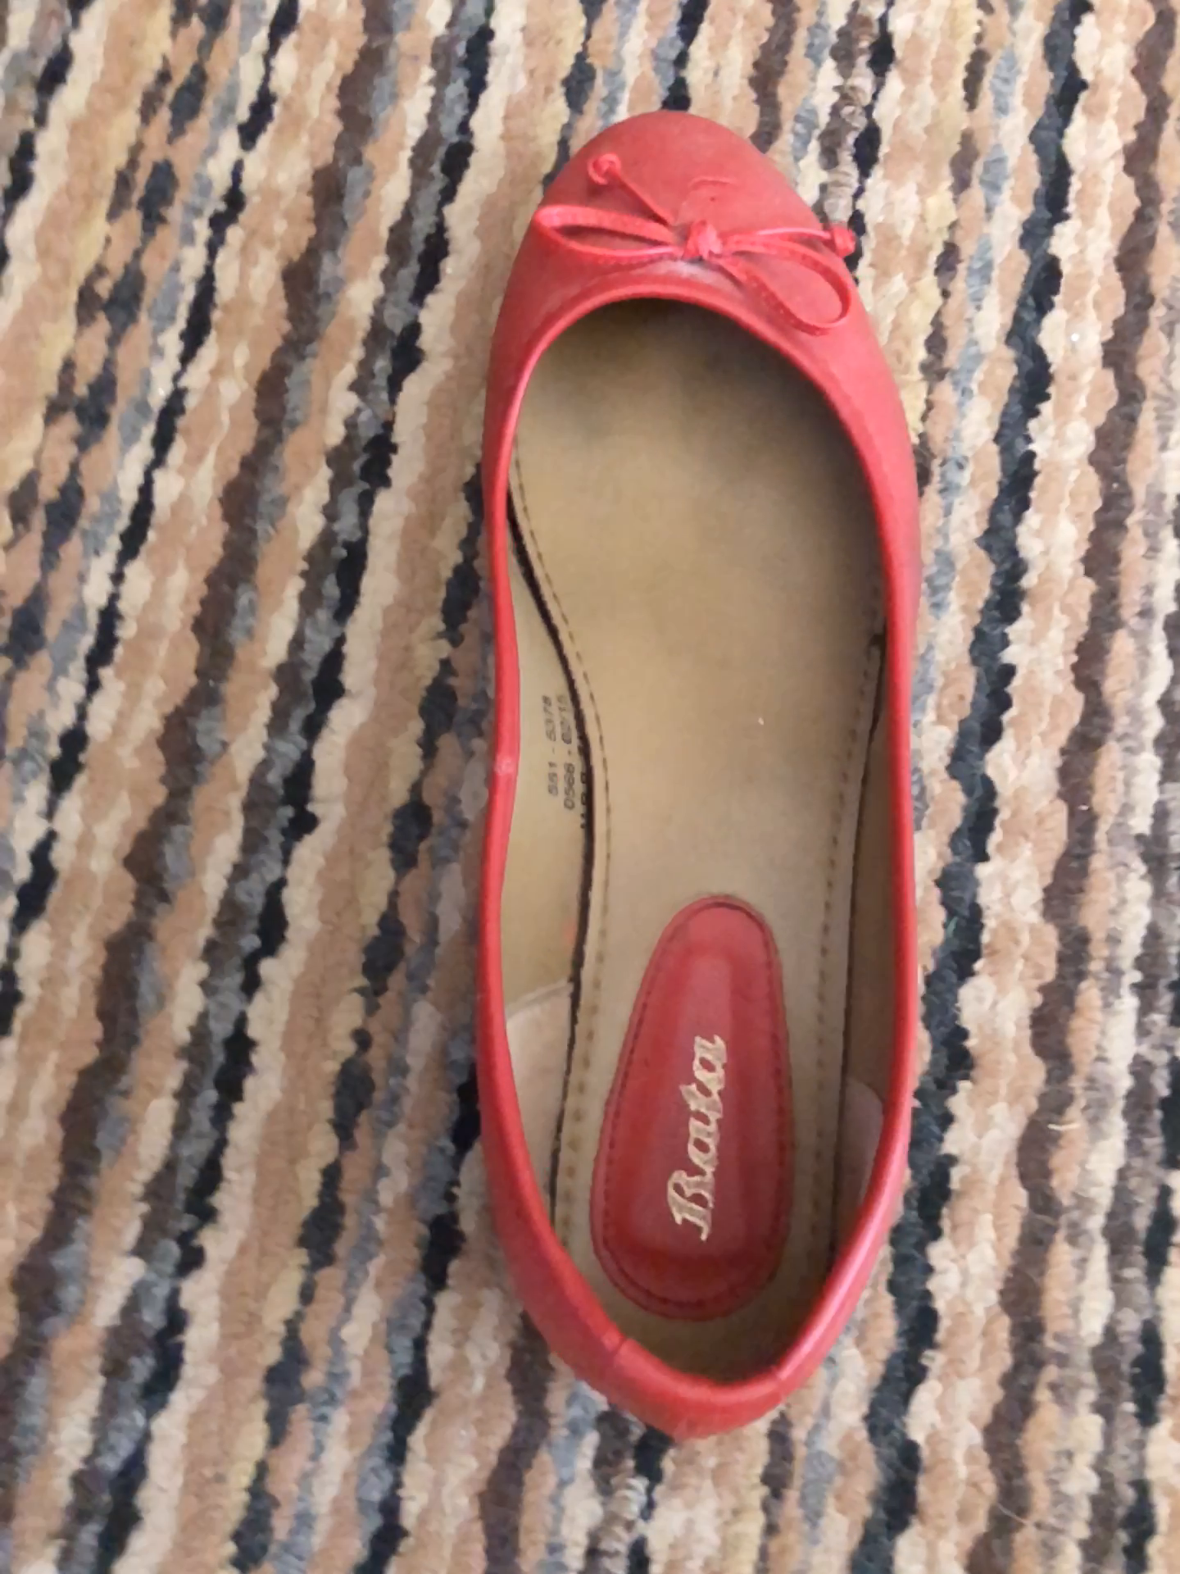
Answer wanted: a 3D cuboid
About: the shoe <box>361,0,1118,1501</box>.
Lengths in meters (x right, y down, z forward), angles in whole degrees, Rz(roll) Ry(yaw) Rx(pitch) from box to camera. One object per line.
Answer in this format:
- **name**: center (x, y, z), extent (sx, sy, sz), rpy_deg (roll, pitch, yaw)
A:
- **shoe**: center (0.022, -0.028, 0.254), extent (0.100, 0.110, 0.270), rpy_deg (3, 78, -3)
